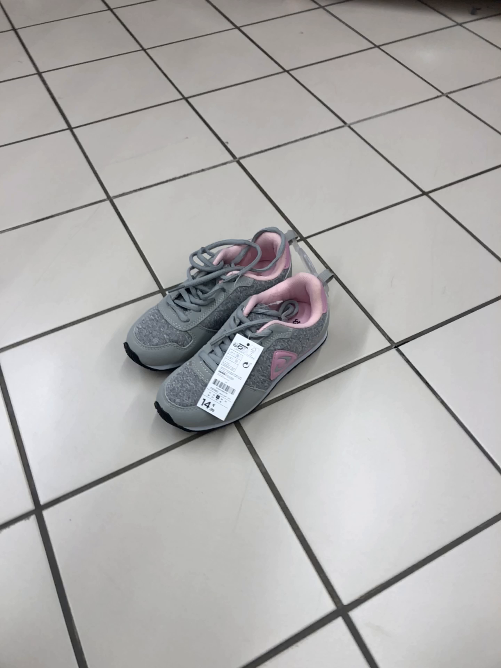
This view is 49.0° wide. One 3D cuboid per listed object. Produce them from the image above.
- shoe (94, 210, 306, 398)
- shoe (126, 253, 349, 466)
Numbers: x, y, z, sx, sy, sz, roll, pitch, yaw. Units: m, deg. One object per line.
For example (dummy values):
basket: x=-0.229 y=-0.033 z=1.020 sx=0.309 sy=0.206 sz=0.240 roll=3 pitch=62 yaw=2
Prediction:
shoe: x=-0.048 y=-0.038 z=0.605 sx=0.215 sy=0.083 sz=0.082 roll=-34 pitch=59 yaw=-23
shoe: x=-0.007 y=0.020 z=0.559 sx=0.215 sy=0.083 sz=0.082 roll=-36 pitch=60 yaw=-25
